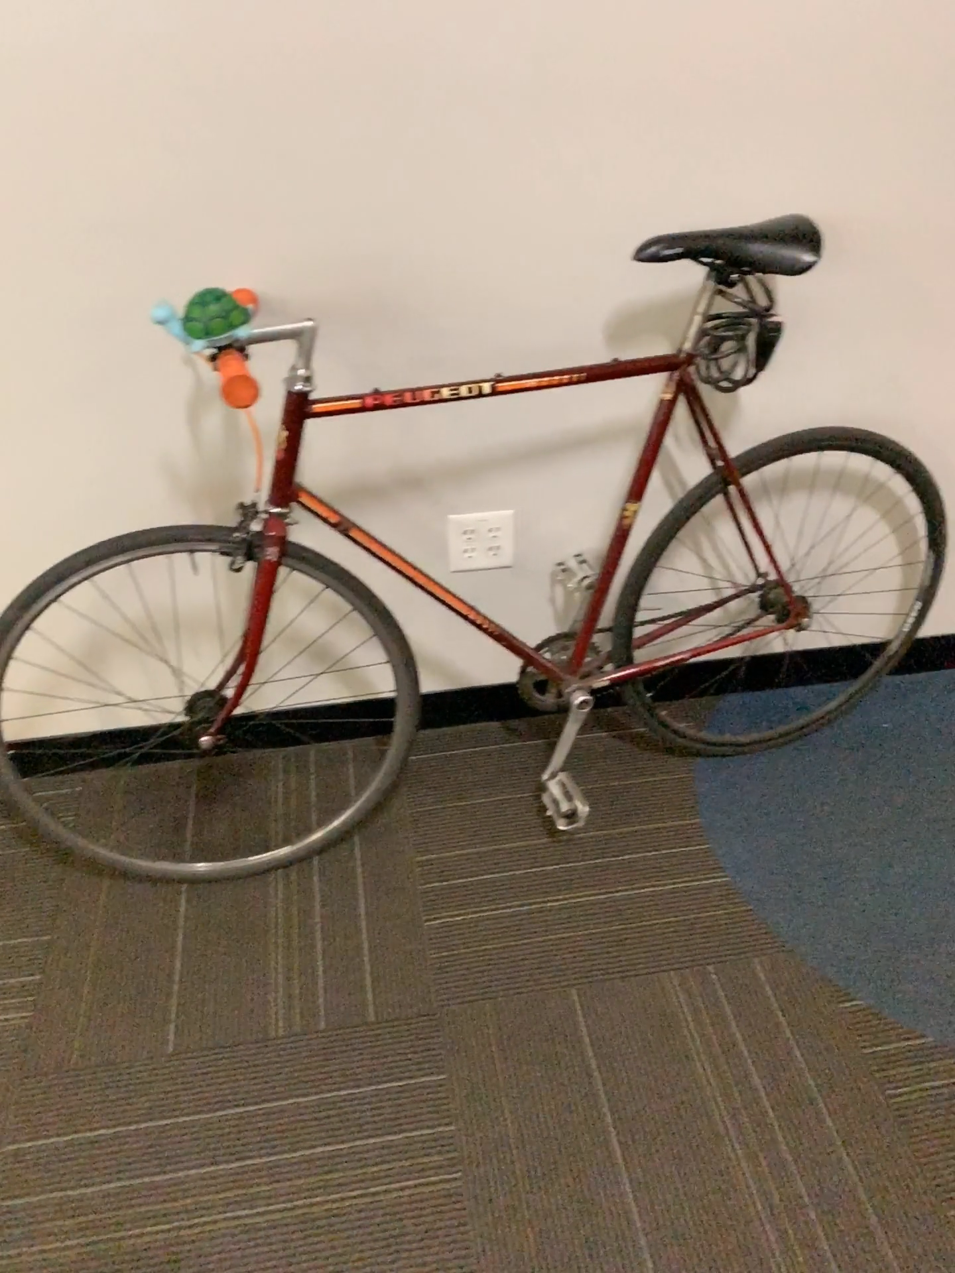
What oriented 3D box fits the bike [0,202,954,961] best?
[{"bbox_3d":[0.052,-0.122,1.587,1.626,0.909,0.451,-10,38,-13],"label":"bike"}]
